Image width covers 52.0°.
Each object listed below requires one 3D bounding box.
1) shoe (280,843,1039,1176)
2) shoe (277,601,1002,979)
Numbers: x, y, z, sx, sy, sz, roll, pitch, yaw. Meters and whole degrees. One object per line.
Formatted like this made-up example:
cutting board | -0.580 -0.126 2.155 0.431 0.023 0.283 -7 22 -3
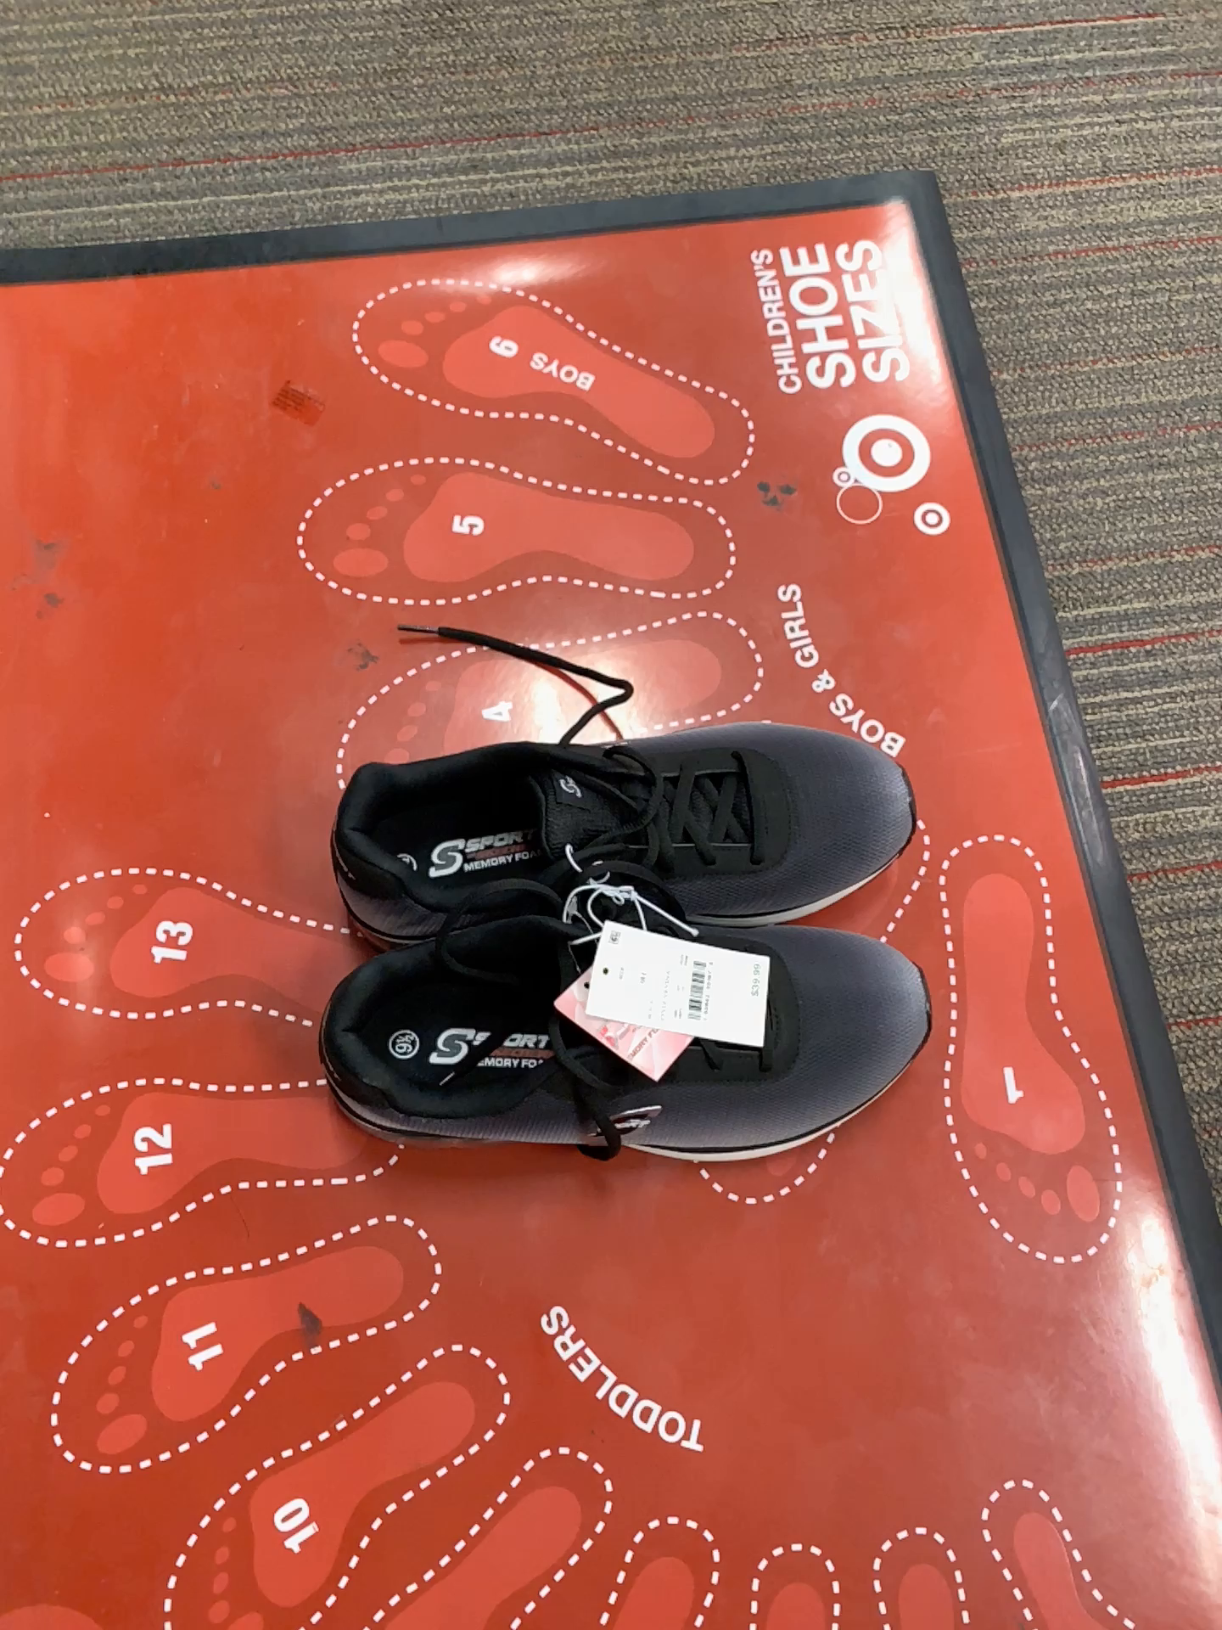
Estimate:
shoe | 0.013 0.079 0.490 0.260 0.100 0.100 -3 73 -4
shoe | 0.007 -0.007 0.516 0.260 0.100 0.100 -7 73 -5
